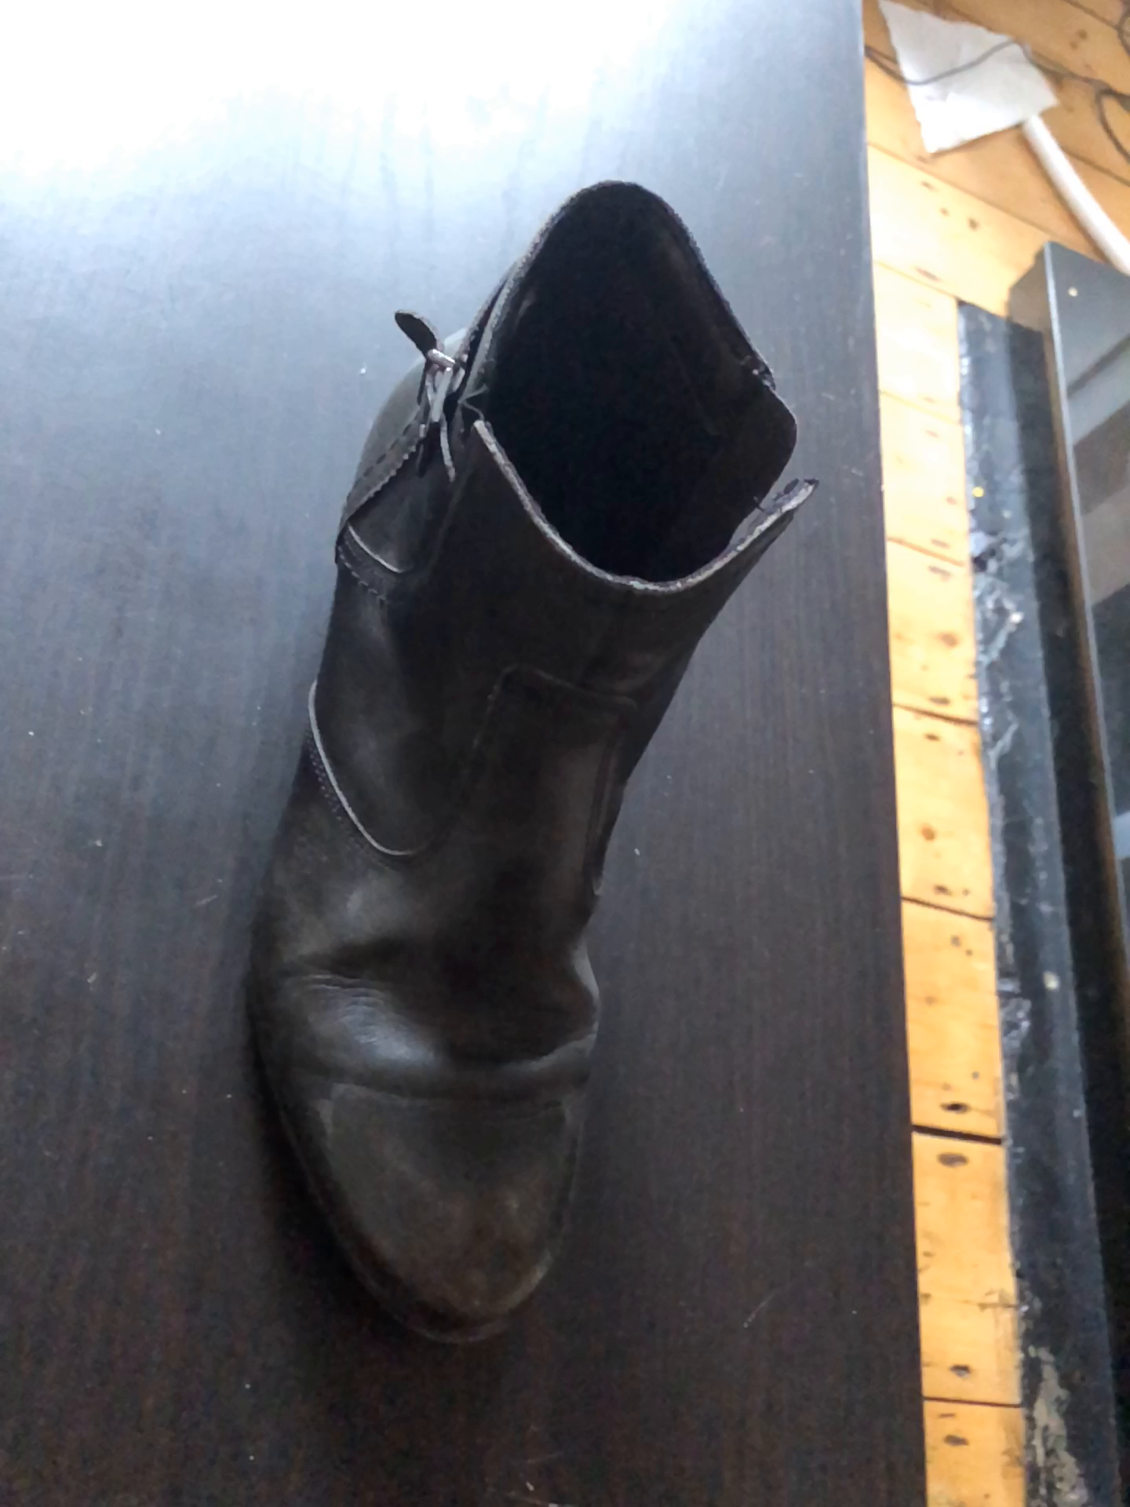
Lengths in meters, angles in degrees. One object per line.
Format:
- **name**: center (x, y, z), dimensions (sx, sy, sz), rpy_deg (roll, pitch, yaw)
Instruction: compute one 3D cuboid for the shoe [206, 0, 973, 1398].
- **shoe**: center (-0.013, -0.005, 0.301), dimensions (0.090, 0.169, 0.271), rpy_deg (9, 65, -21)
